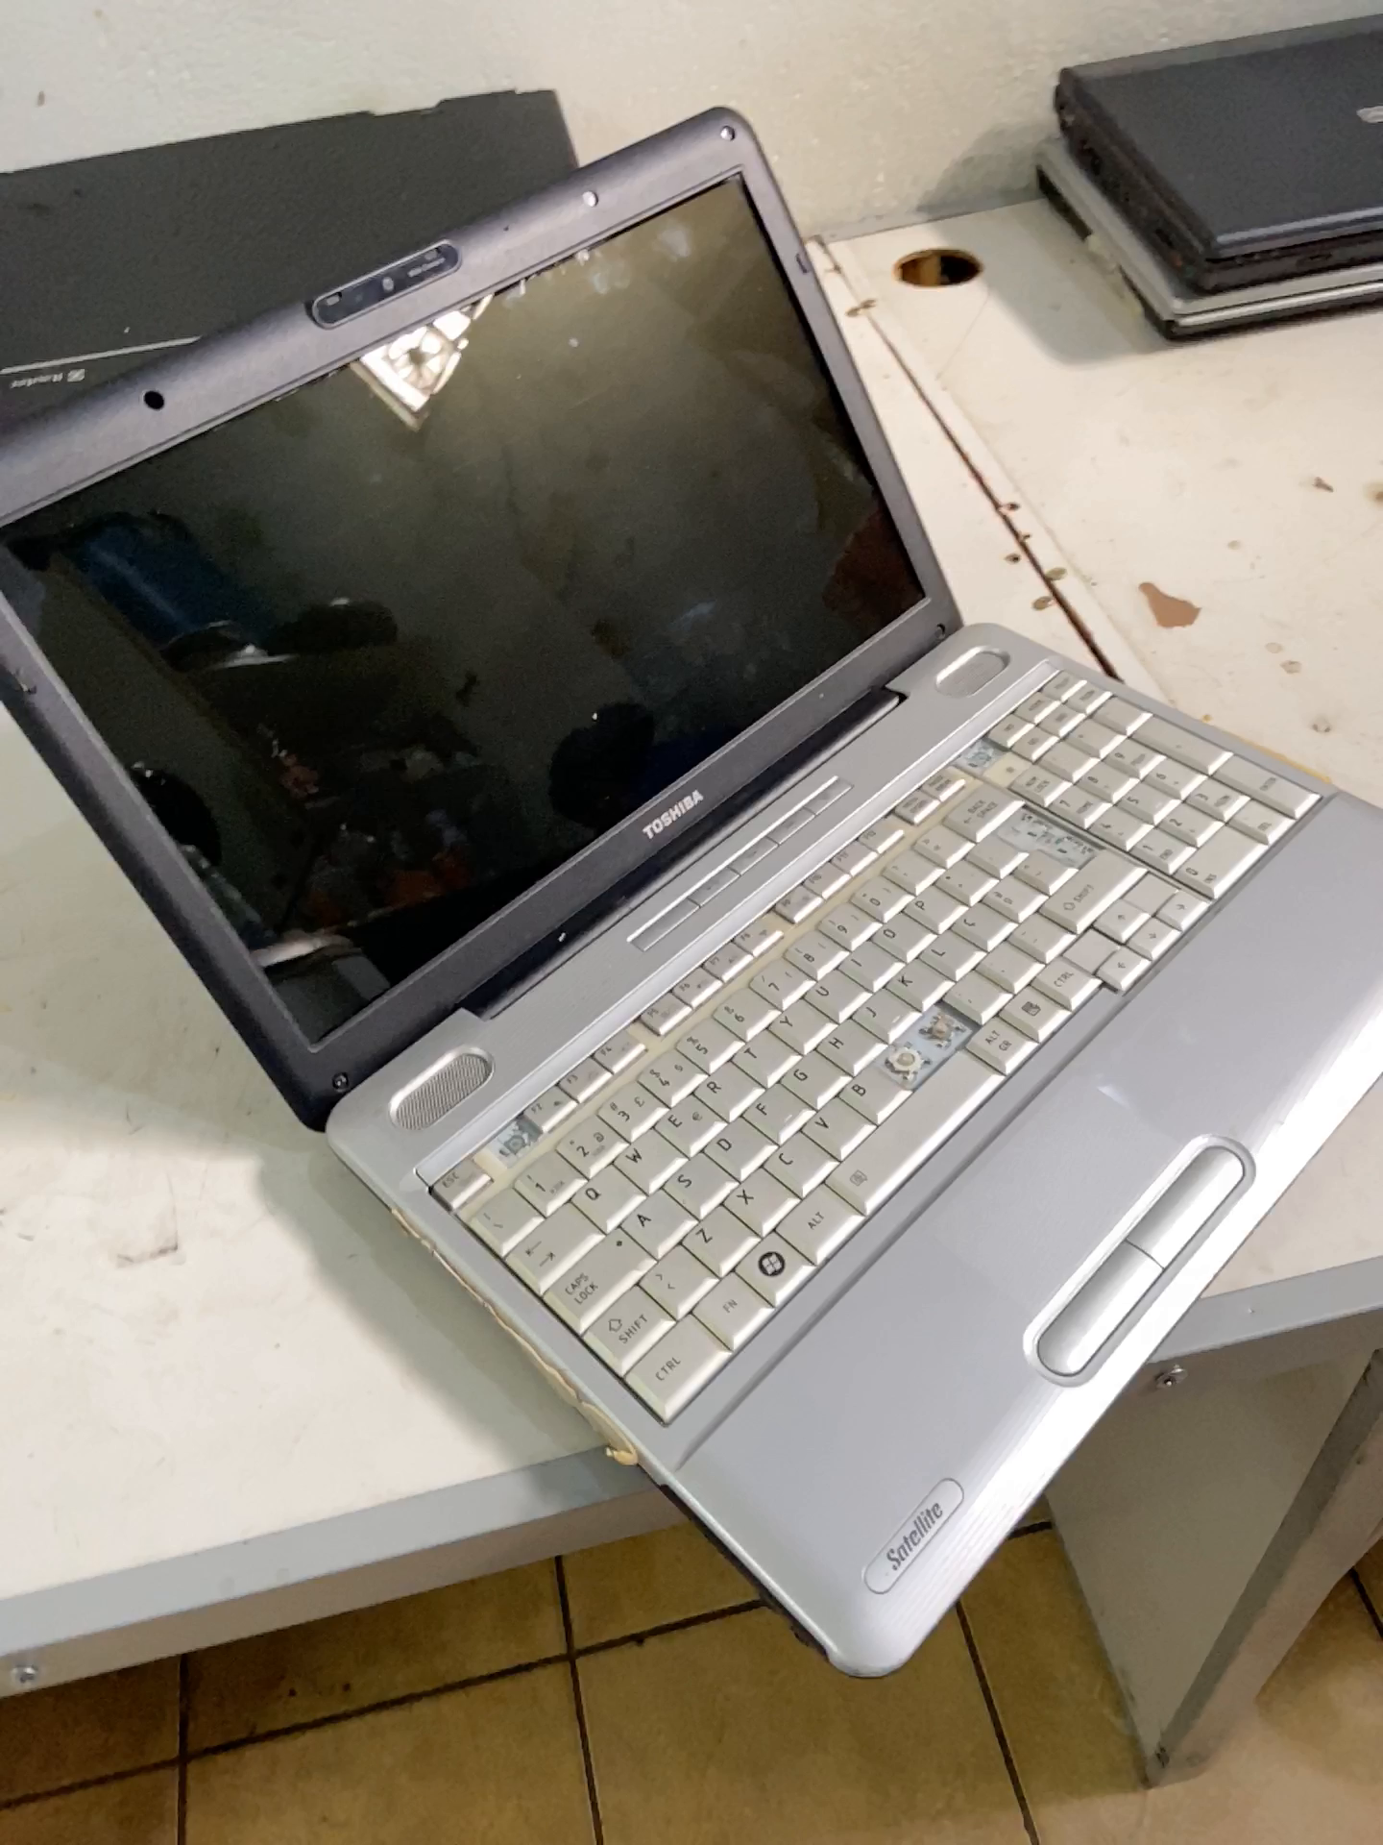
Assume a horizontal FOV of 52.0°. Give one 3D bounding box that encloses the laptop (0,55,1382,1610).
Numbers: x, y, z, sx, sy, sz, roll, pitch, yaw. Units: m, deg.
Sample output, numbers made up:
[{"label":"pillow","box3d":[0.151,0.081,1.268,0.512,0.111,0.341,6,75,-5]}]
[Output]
[{"label":"laptop","box3d":[0.052,-0.091,0.480,0.371,0.191,0.400,-39,56,-25]}]
